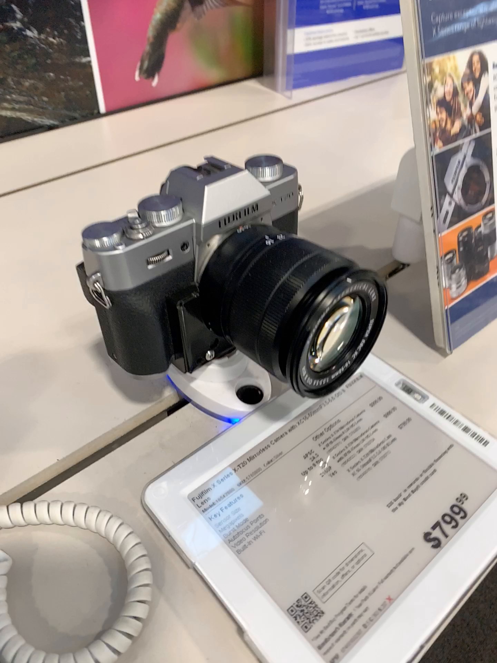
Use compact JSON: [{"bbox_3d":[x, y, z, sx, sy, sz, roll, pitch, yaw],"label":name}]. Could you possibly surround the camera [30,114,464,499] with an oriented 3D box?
[{"bbox_3d":[-0.002,-0.025,0.227,0.120,0.080,0.121,-31,51,-30],"label":"camera"}]
